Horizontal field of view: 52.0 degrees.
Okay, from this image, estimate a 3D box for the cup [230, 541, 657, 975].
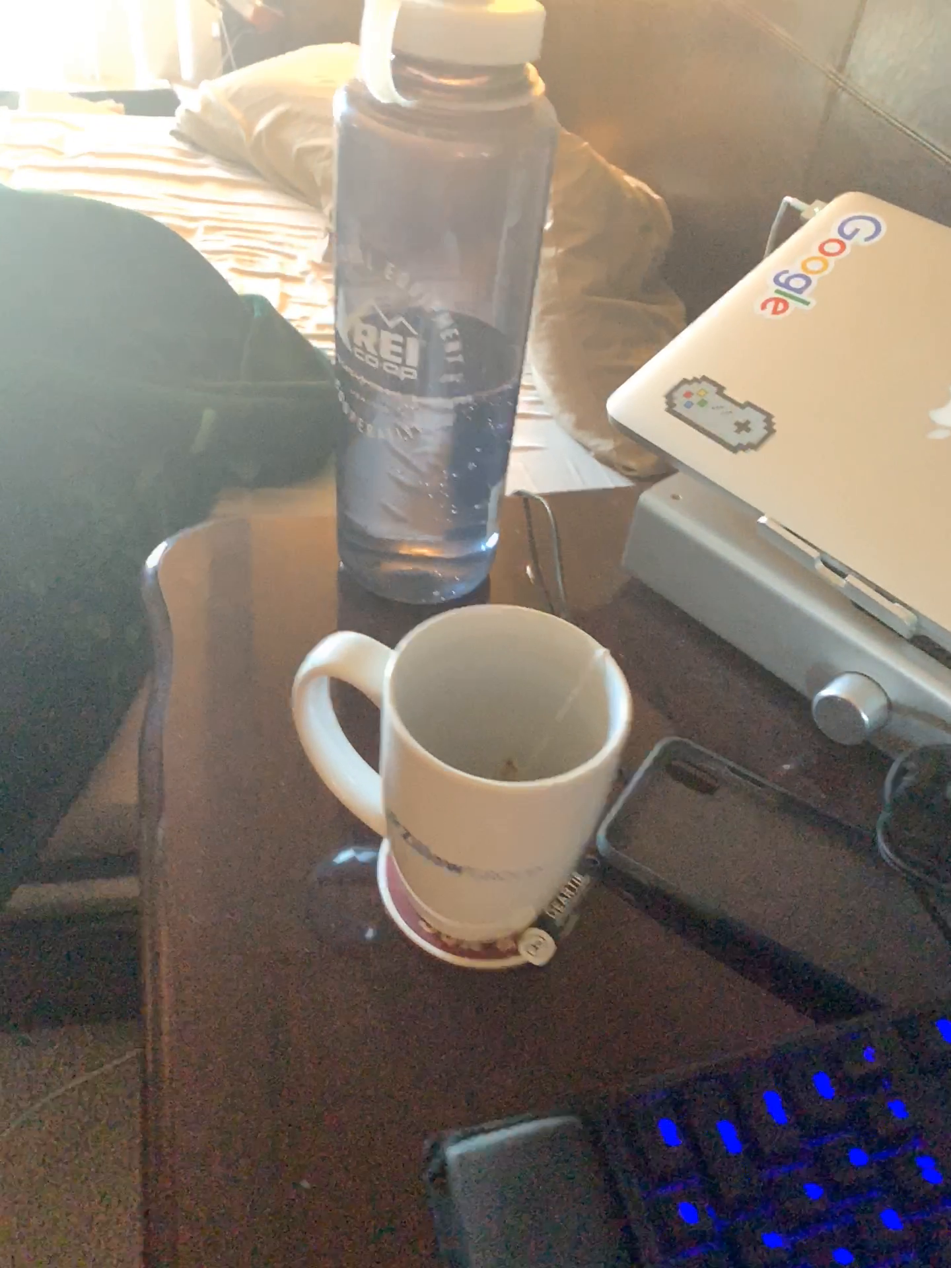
[{"bbox_3d":[-0.009,0.046,0.372,0.130,0.099,0.101,11,45,4],"label":"cup"}]
